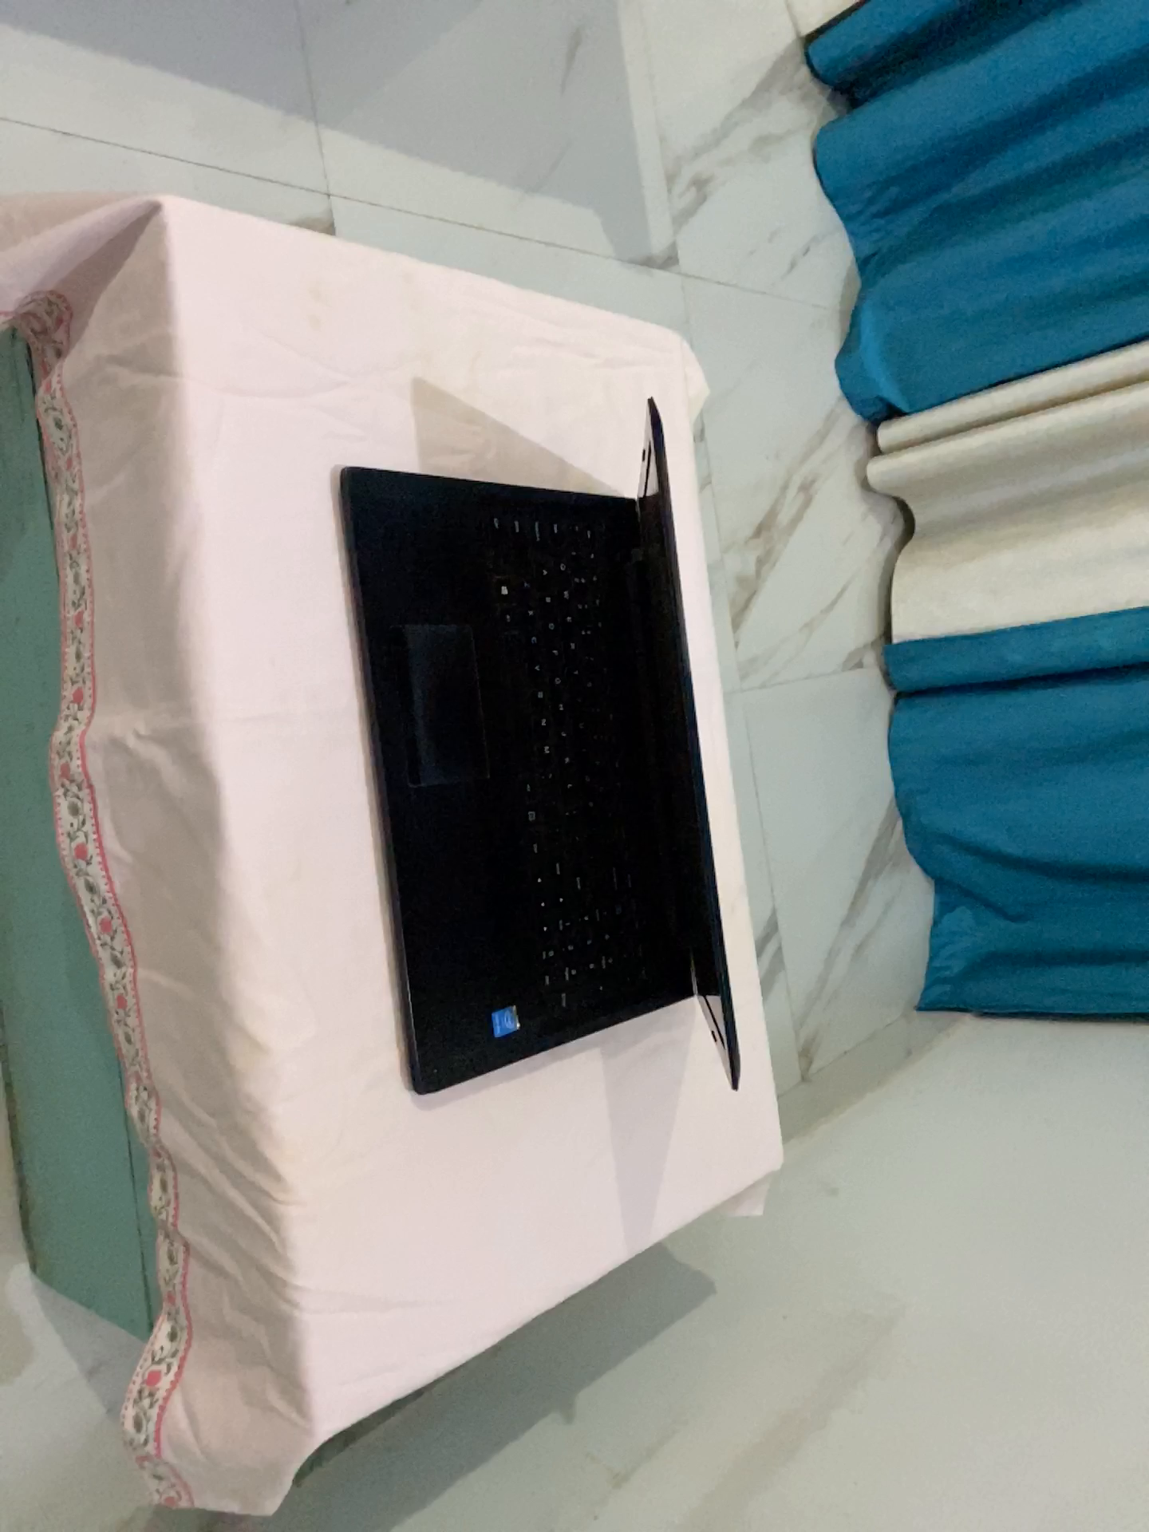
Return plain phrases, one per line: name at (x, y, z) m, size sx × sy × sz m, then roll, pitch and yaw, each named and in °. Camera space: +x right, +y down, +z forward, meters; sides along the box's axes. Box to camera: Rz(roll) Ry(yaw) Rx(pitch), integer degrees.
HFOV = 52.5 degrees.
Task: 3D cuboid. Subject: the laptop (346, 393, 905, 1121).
laptop at (0.040, -0.009, 0.736) m, size 0.260 × 0.176 × 0.368 m, roll -8°, pitch 91°, yaw -45°
